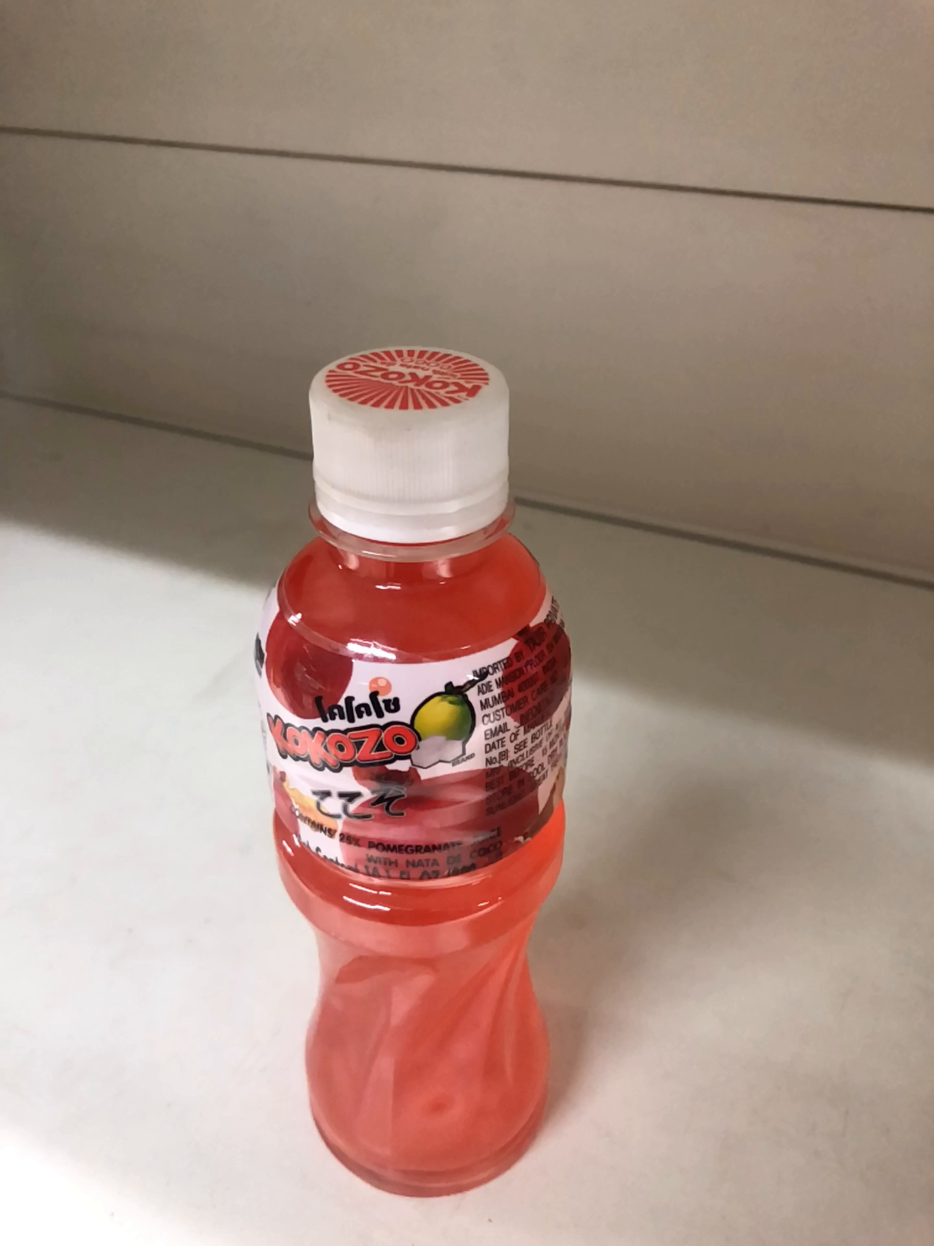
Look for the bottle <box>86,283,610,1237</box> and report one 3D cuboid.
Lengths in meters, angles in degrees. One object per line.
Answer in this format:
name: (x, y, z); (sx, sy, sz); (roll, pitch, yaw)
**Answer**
bottle: (-0.014, 0.032, 0.193); (0.060, 0.169, 0.050); (9, 32, 13)
